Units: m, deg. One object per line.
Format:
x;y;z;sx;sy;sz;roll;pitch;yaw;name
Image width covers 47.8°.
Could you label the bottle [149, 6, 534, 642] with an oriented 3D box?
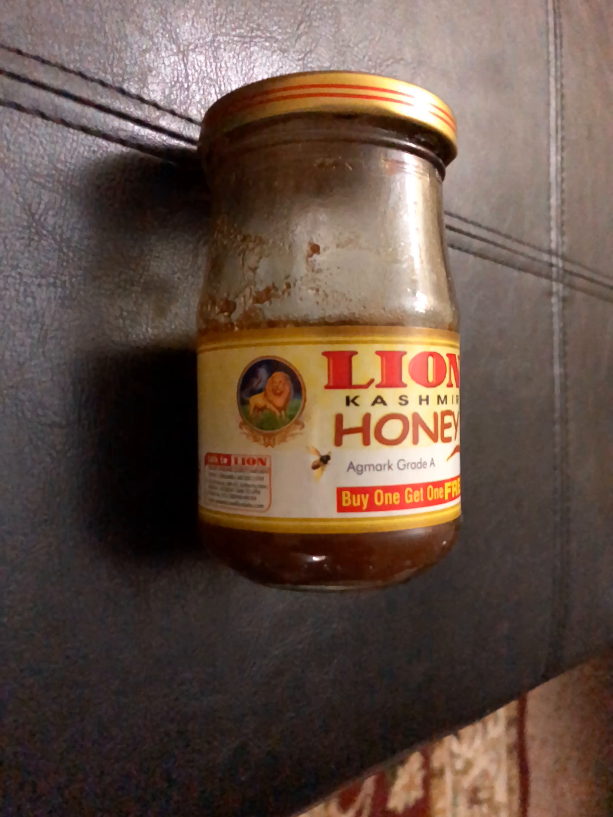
0.008;-0.014;0.160;0.060;0.059;0.108;1;92;-44;bottle
